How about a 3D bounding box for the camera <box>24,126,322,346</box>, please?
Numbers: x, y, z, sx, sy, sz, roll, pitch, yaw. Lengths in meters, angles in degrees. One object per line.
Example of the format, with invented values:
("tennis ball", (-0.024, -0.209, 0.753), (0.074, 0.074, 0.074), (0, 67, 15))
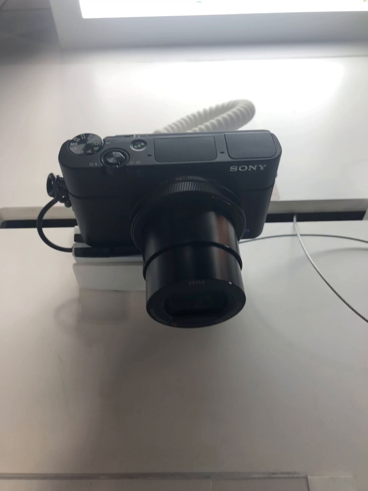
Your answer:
("camera", (-0.004, -0.003, 0.195), (0.105, 0.074, 0.070), (-2, 49, 0))
